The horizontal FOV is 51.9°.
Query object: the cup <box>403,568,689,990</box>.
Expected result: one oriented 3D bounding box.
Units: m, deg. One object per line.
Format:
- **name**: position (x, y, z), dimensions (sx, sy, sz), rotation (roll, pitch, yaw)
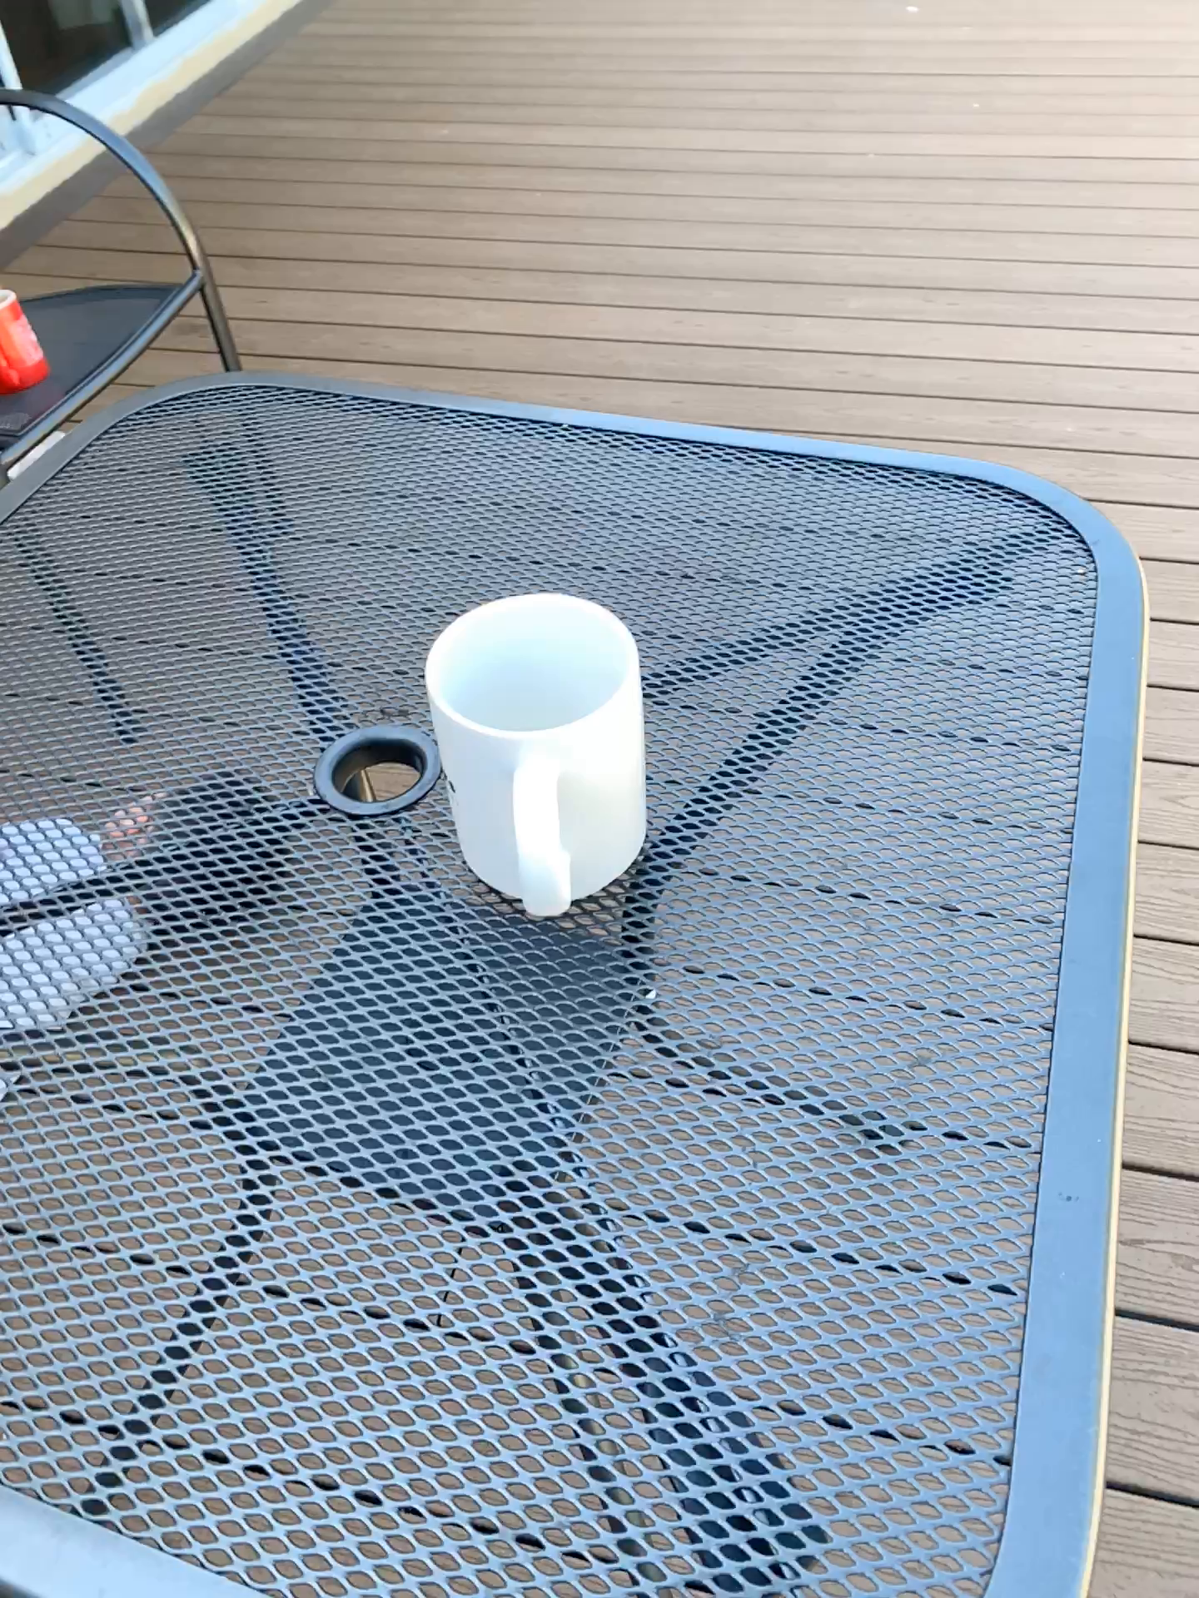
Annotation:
- **cup**: position (-0.018, -0.009, 0.513), dimensions (0.100, 0.110, 0.130), rotation (-4, 47, 1)
